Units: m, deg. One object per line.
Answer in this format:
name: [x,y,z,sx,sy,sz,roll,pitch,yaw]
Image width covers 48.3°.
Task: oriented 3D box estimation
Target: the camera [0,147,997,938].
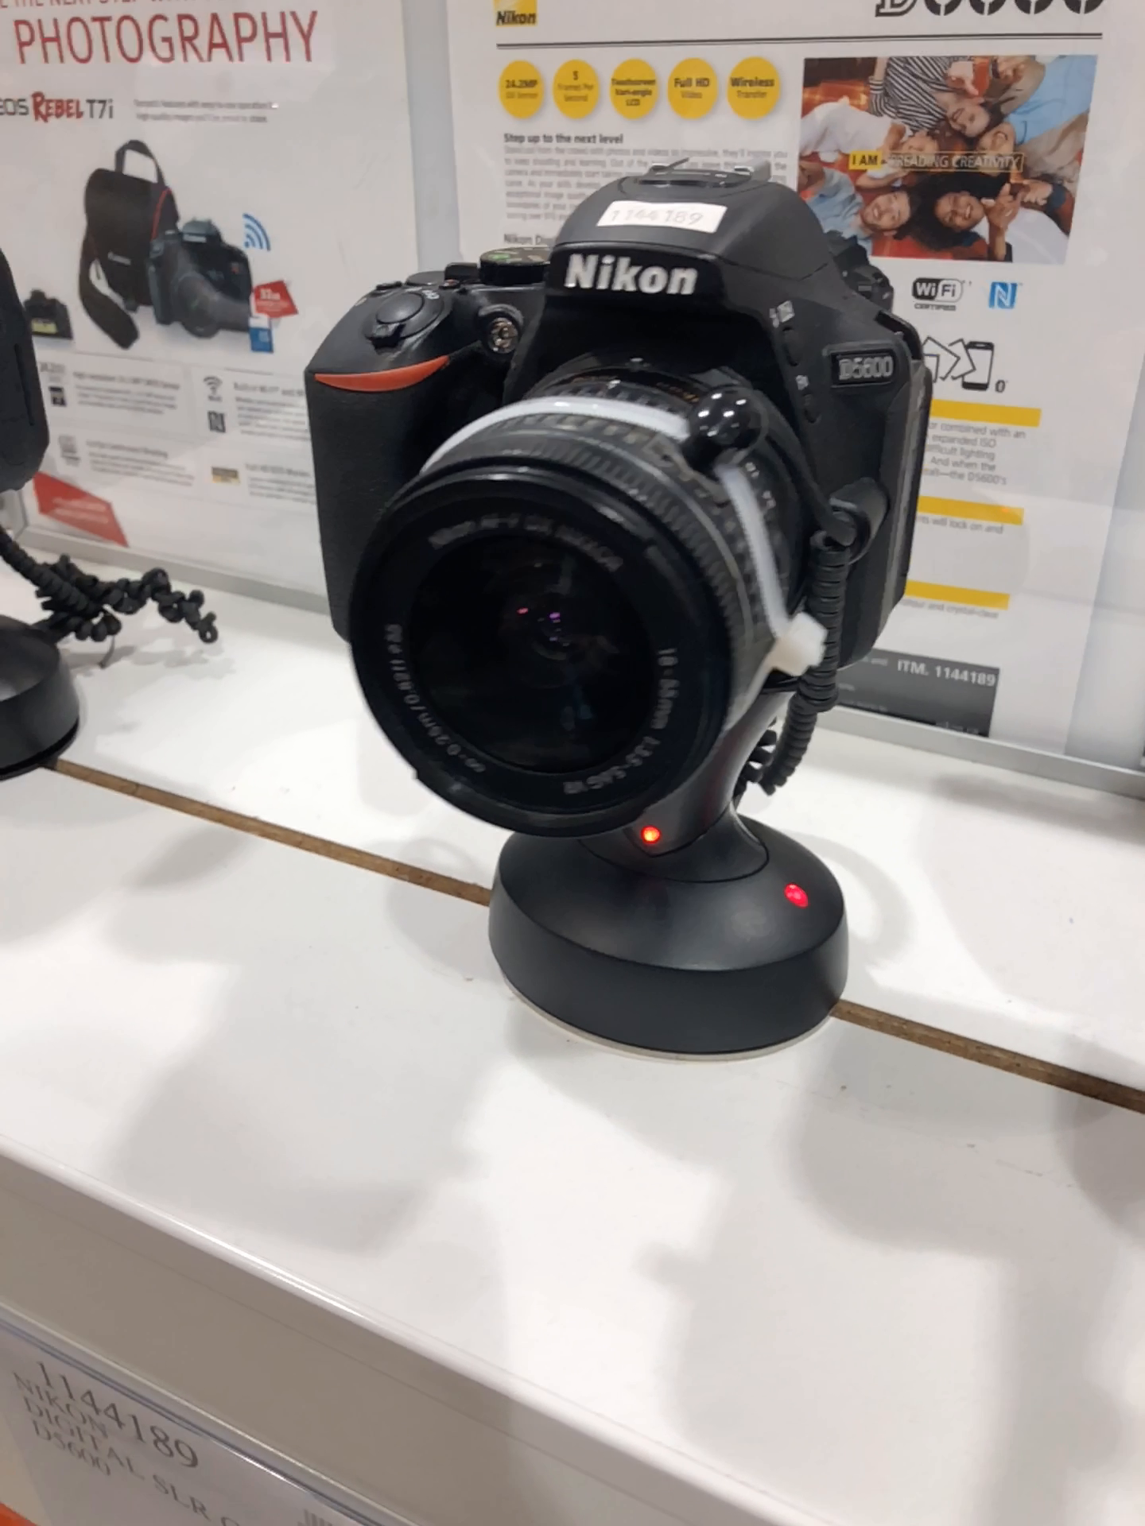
camera: [0.001,-0.058,0.239,0.130,0.090,0.141,10,32,15]
